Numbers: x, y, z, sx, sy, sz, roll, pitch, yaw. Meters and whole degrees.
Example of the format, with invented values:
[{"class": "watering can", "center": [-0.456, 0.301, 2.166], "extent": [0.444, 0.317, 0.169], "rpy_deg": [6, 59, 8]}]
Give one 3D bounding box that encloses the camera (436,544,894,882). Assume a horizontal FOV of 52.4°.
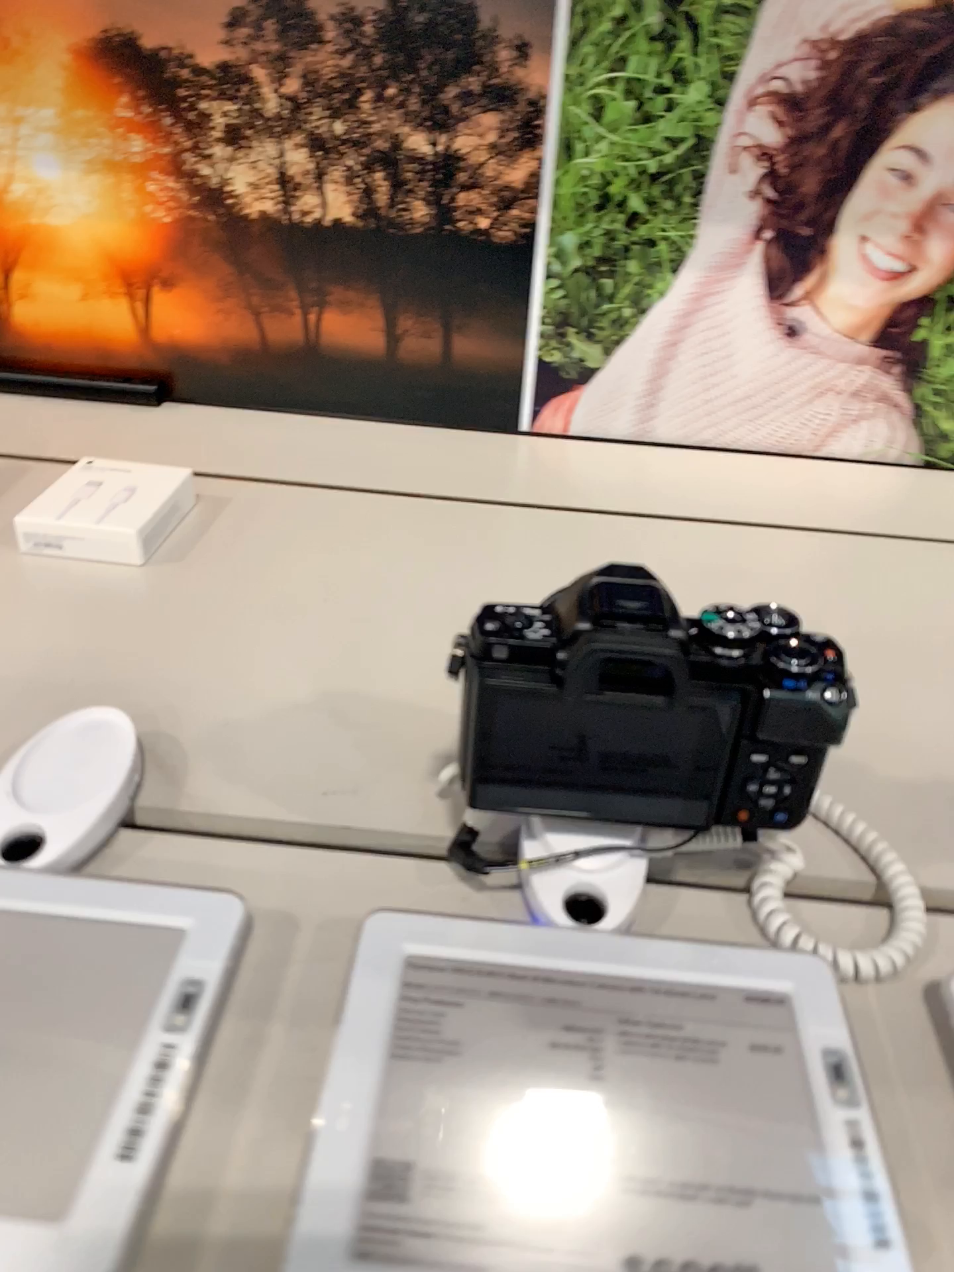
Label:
[{"class": "camera", "center": [0.055, 0.025, 0.330], "extent": [0.130, 0.080, 0.070], "rpy_deg": [4, 33, 1]}]
